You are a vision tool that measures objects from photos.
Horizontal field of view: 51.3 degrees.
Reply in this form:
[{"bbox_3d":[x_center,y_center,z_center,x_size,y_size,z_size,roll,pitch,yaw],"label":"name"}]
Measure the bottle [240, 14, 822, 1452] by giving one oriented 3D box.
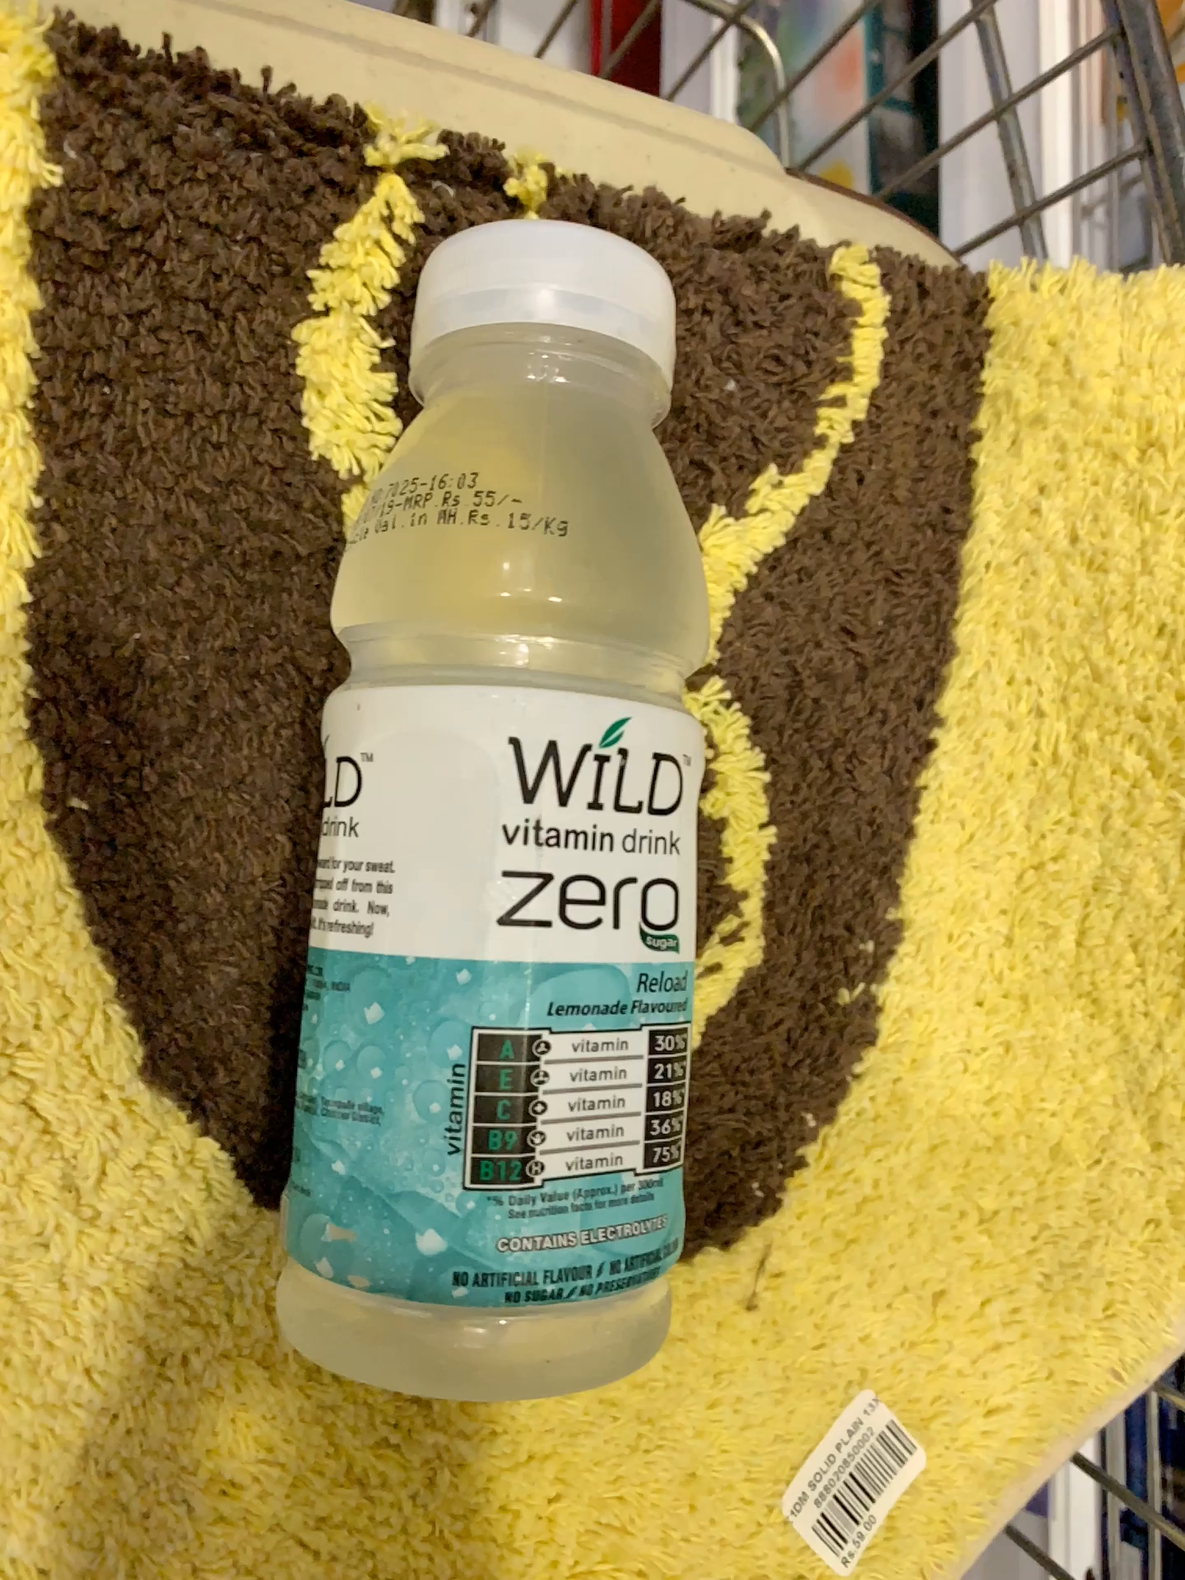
[{"bbox_3d":[-0.008,-0.007,0.167,0.060,0.040,0.160,5,83,-25],"label":"bottle"}]
